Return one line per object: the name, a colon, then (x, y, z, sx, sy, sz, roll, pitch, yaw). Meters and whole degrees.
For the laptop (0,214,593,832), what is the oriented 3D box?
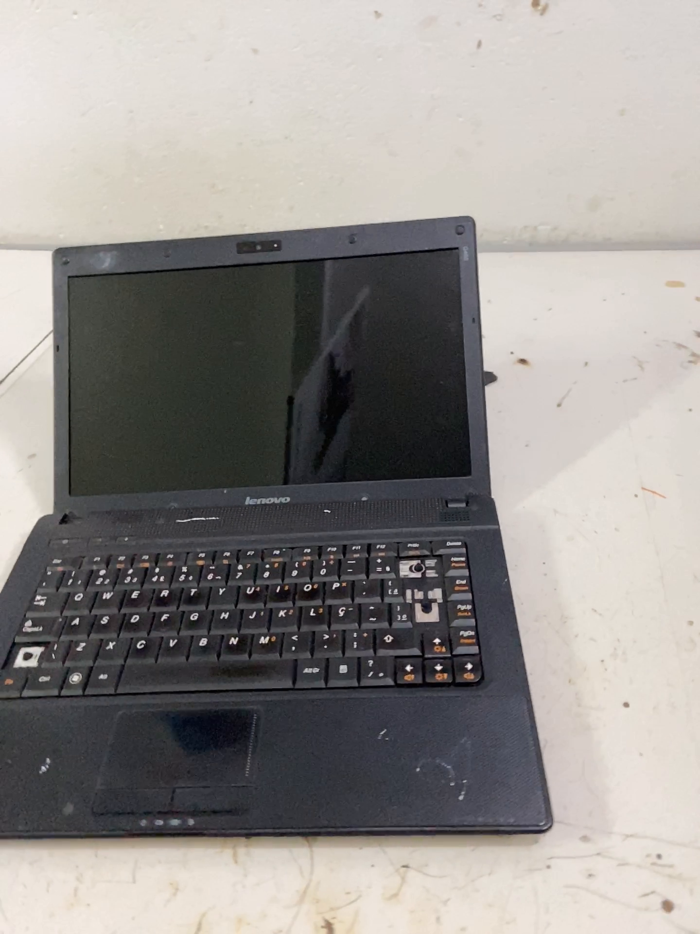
laptop: (-0.075, -0.004, 0.491, 0.357, 0.147, 0.424, -3, 41, 5)
